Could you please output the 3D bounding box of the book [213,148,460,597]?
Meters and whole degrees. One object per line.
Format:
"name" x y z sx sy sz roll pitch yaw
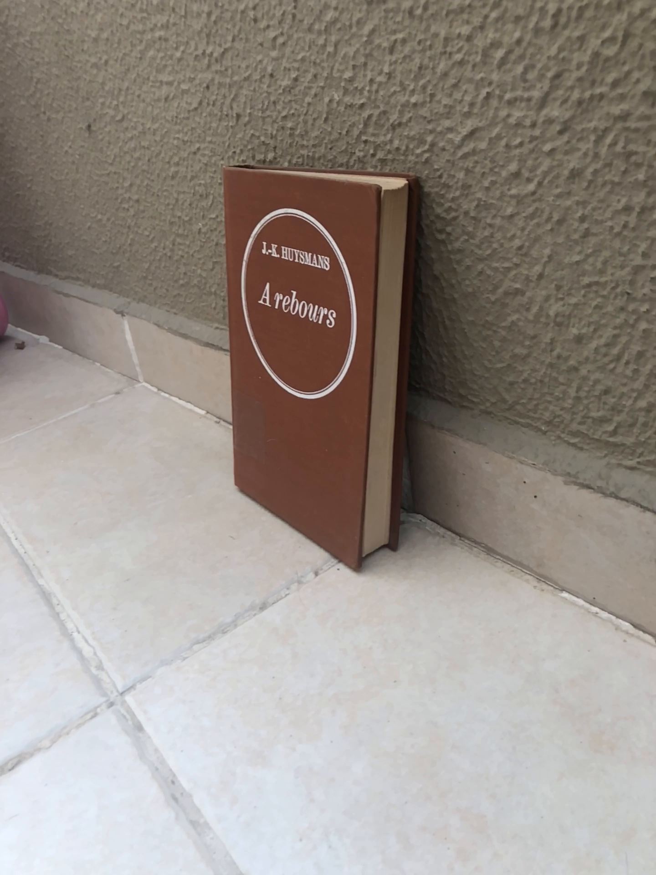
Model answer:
"book" -0.006 -0.044 0.396 0.040 0.209 0.151 -14 26 -34
